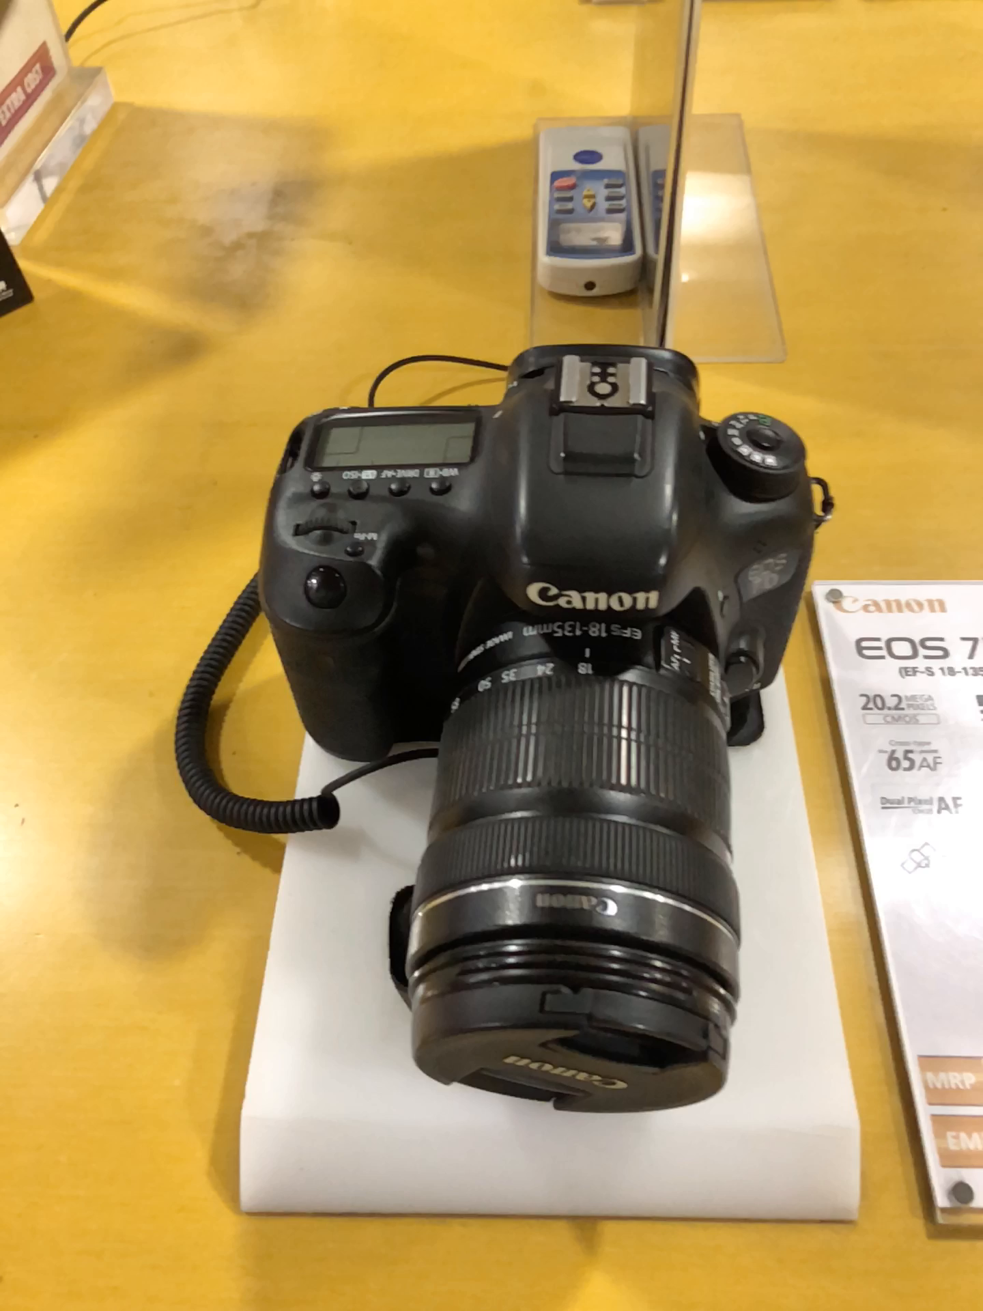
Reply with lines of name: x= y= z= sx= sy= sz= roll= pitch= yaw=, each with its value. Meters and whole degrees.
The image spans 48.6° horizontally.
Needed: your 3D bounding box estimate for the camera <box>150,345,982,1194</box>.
camera: x=0.016 y=0.023 z=0.265 sx=0.130 sy=0.109 sz=0.171 roll=1 pitch=52 yaw=3
